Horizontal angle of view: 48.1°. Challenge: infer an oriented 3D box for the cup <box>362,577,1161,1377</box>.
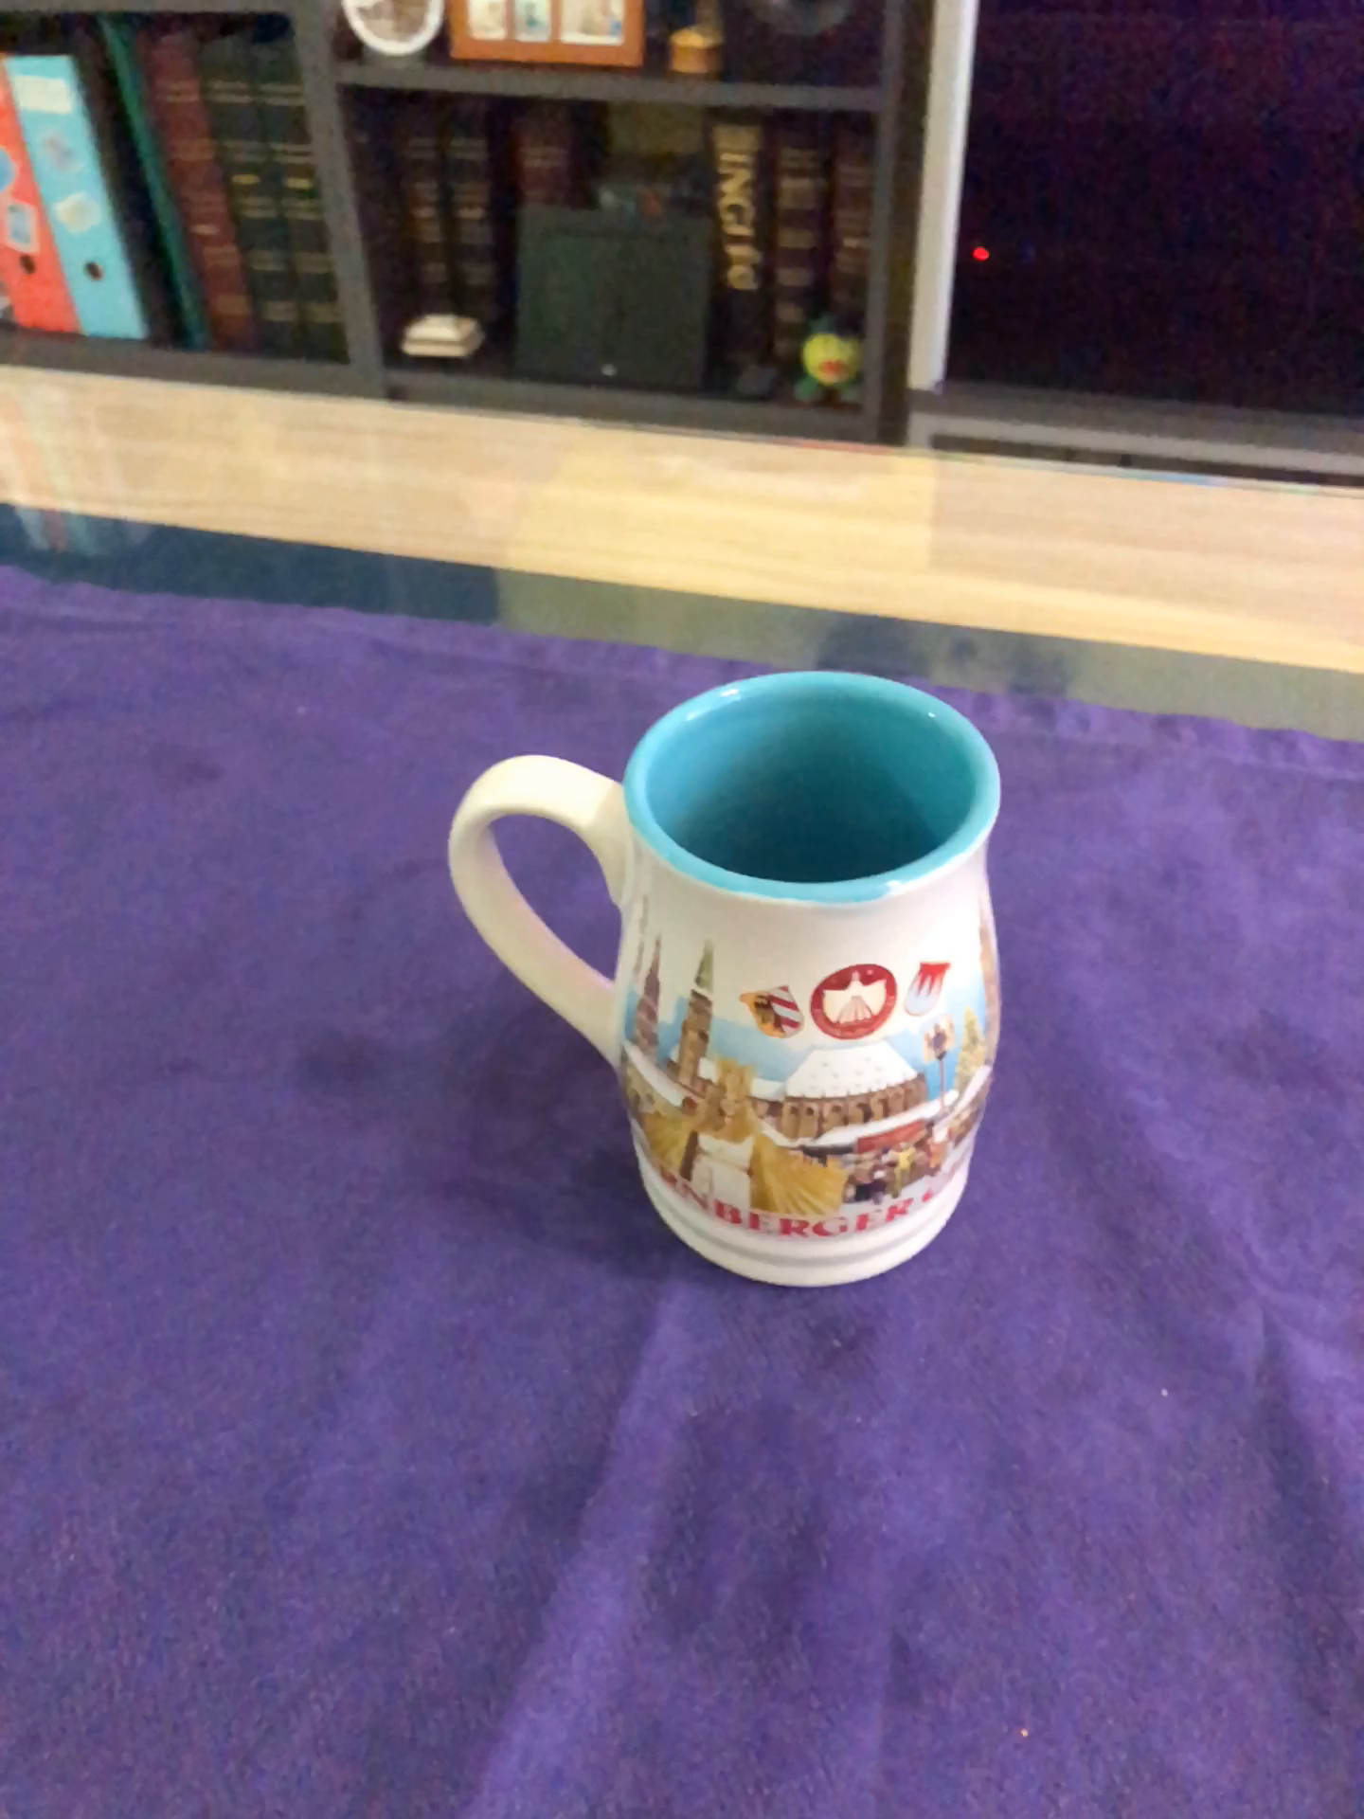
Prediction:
[{"bbox_3d":[0.019,0.011,0.302,0.120,0.109,0.080,12,44,16],"label":"cup"}]
